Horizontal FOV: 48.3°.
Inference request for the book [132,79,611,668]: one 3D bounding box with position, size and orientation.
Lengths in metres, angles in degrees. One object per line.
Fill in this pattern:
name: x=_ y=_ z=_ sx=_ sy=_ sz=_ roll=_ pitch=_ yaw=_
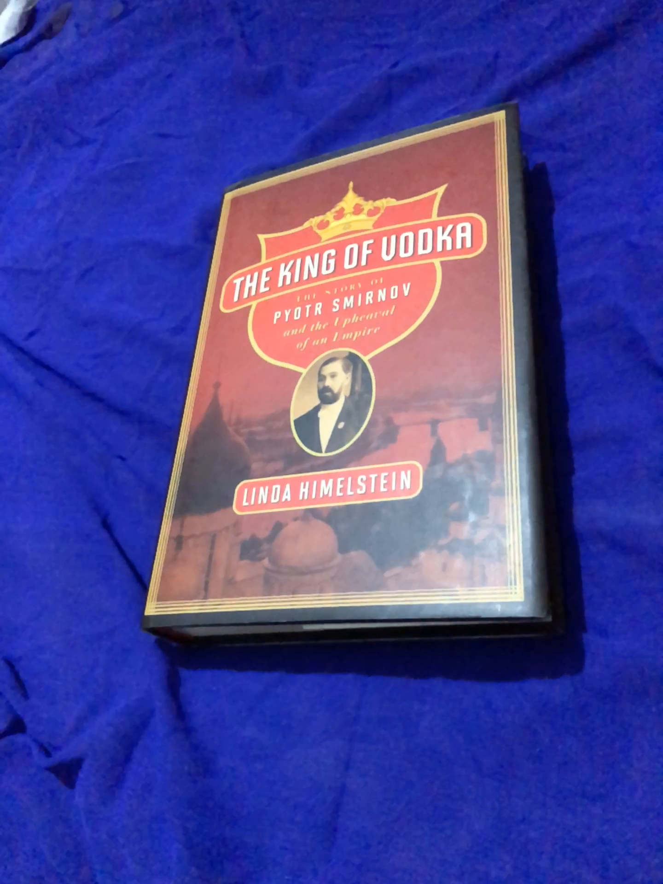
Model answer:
book: x=0.019 y=-0.033 z=0.332 sx=0.170 sy=0.050 sz=0.250 roll=-9 pitch=59 yaw=23
